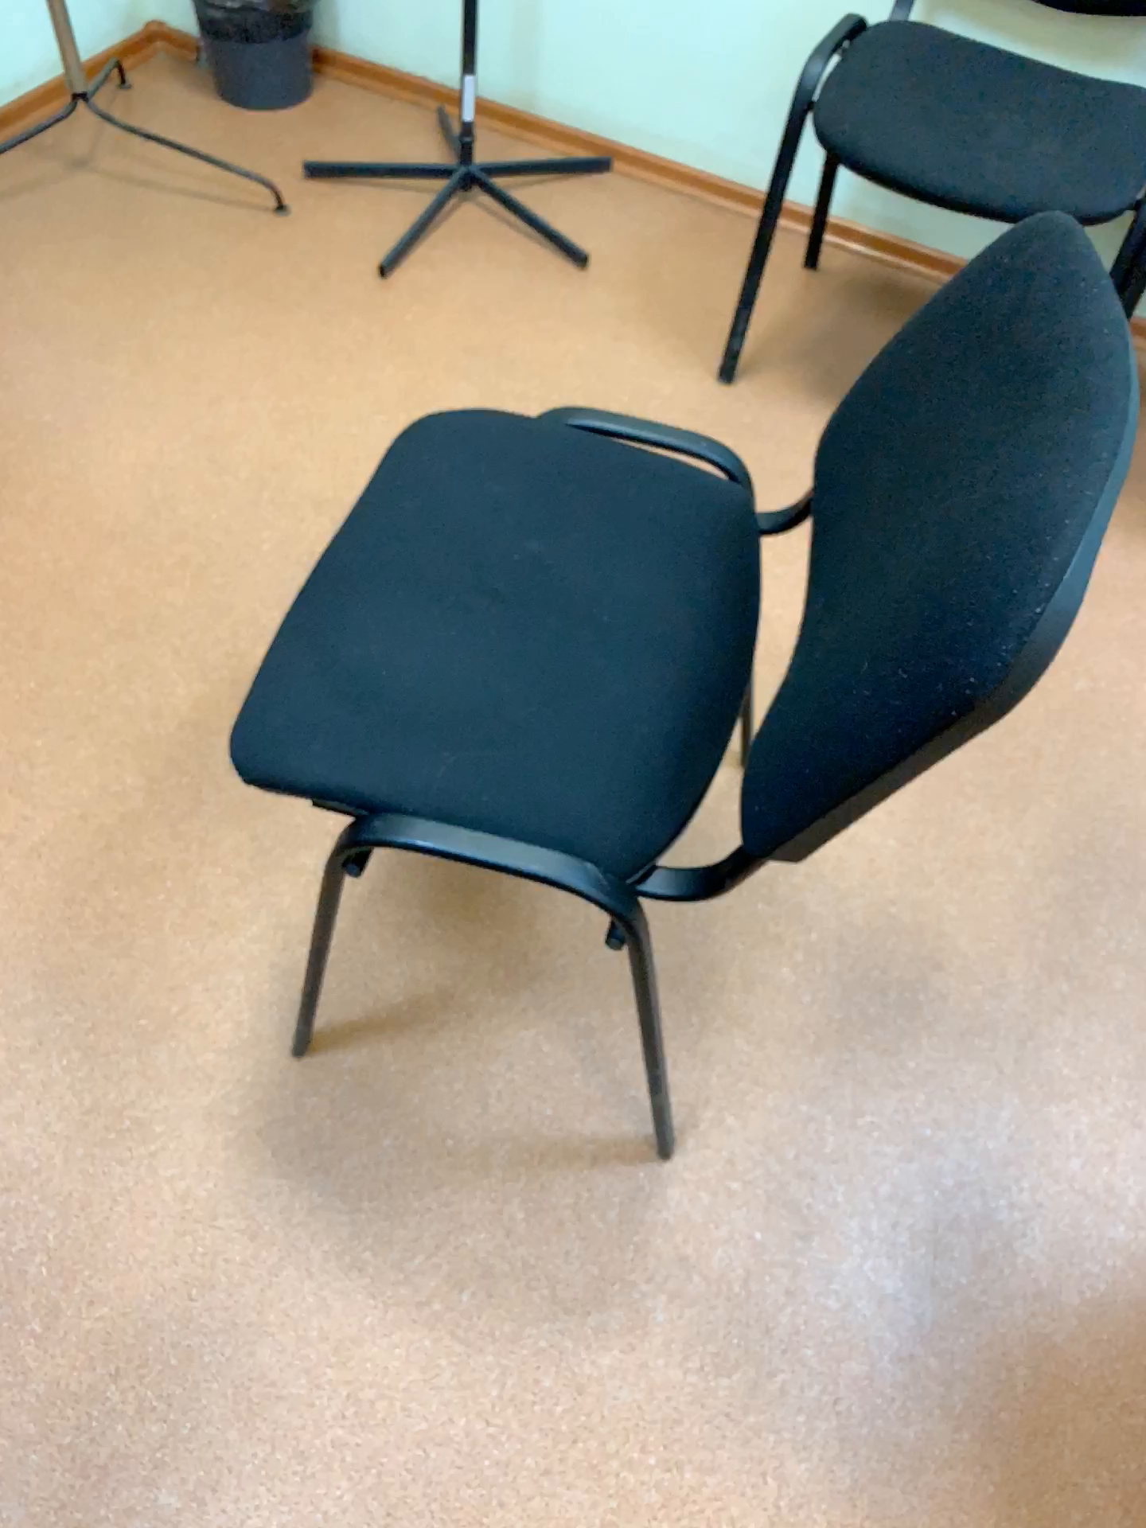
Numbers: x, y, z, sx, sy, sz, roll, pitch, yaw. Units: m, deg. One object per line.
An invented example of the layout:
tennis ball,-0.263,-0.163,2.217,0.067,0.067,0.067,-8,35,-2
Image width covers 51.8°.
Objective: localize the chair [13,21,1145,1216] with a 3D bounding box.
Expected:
chair,0.043,-0.076,1.074,0.590,0.784,0.578,16,54,7
